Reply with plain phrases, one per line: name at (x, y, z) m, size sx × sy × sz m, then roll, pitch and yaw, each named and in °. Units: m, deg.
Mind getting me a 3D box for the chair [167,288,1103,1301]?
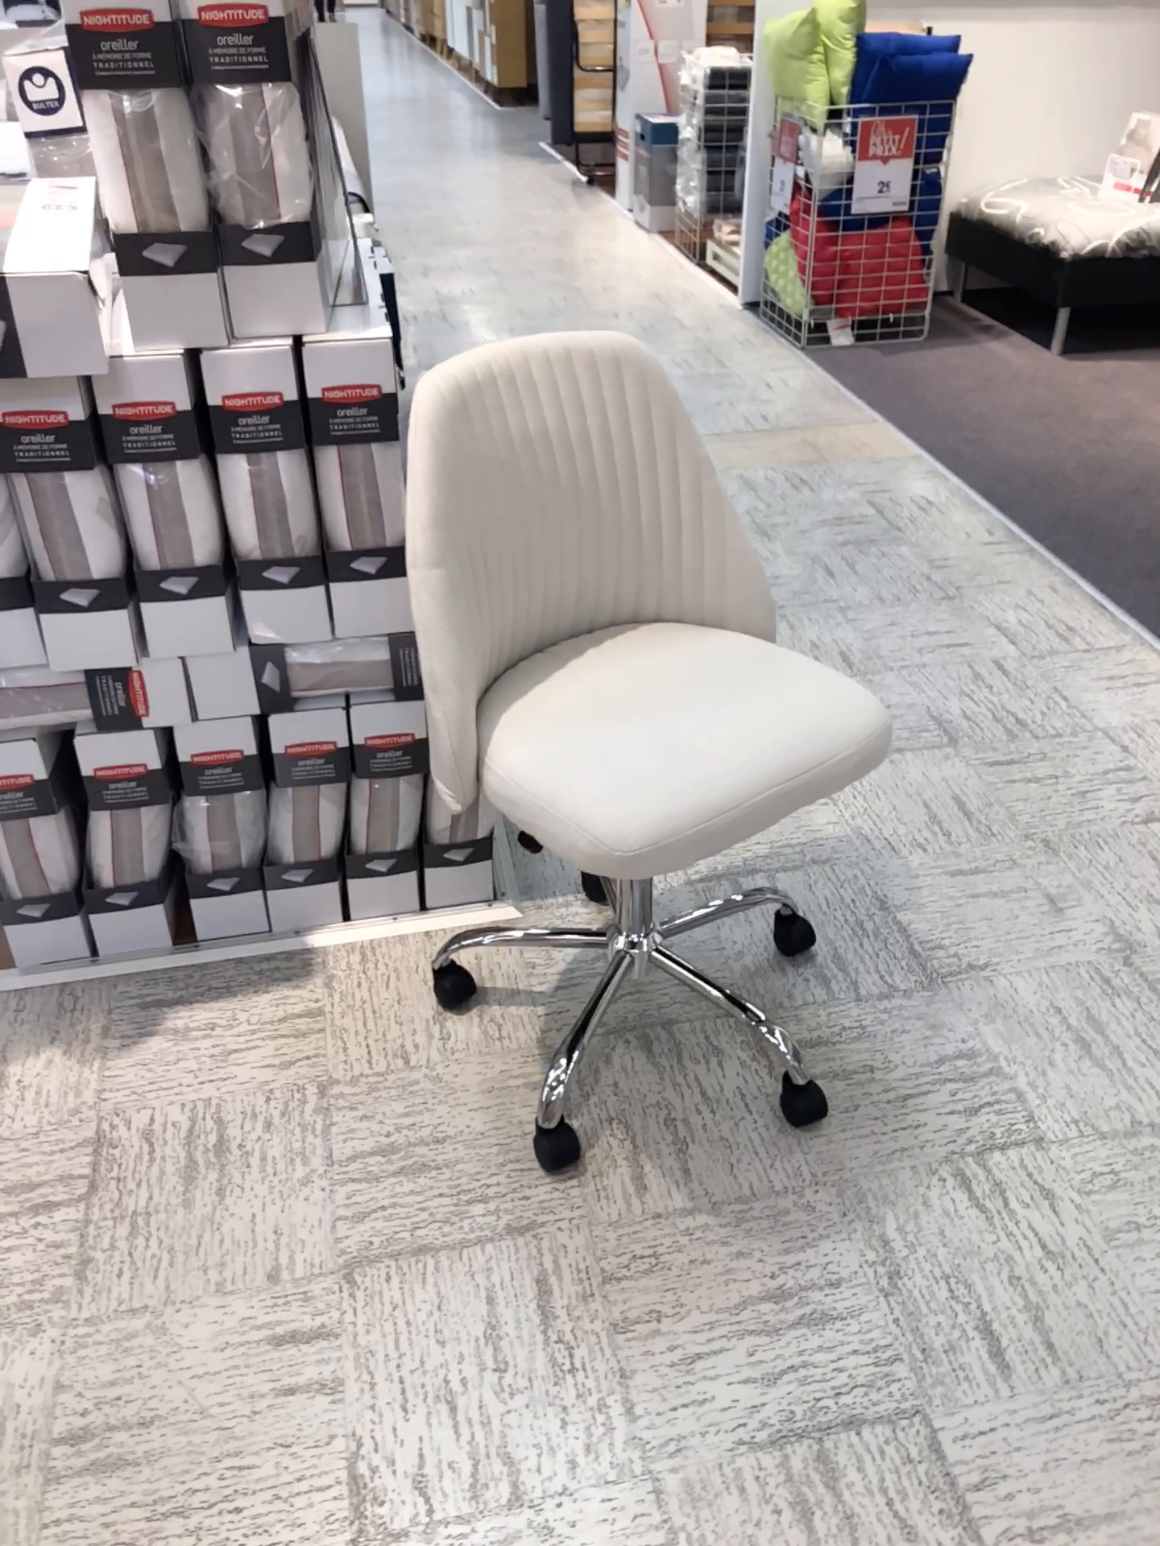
chair at (0.069, -0.048, 1.484) m, size 0.631 × 0.785 × 0.704 m, roll 27°, pitch 42°, yaw 36°
